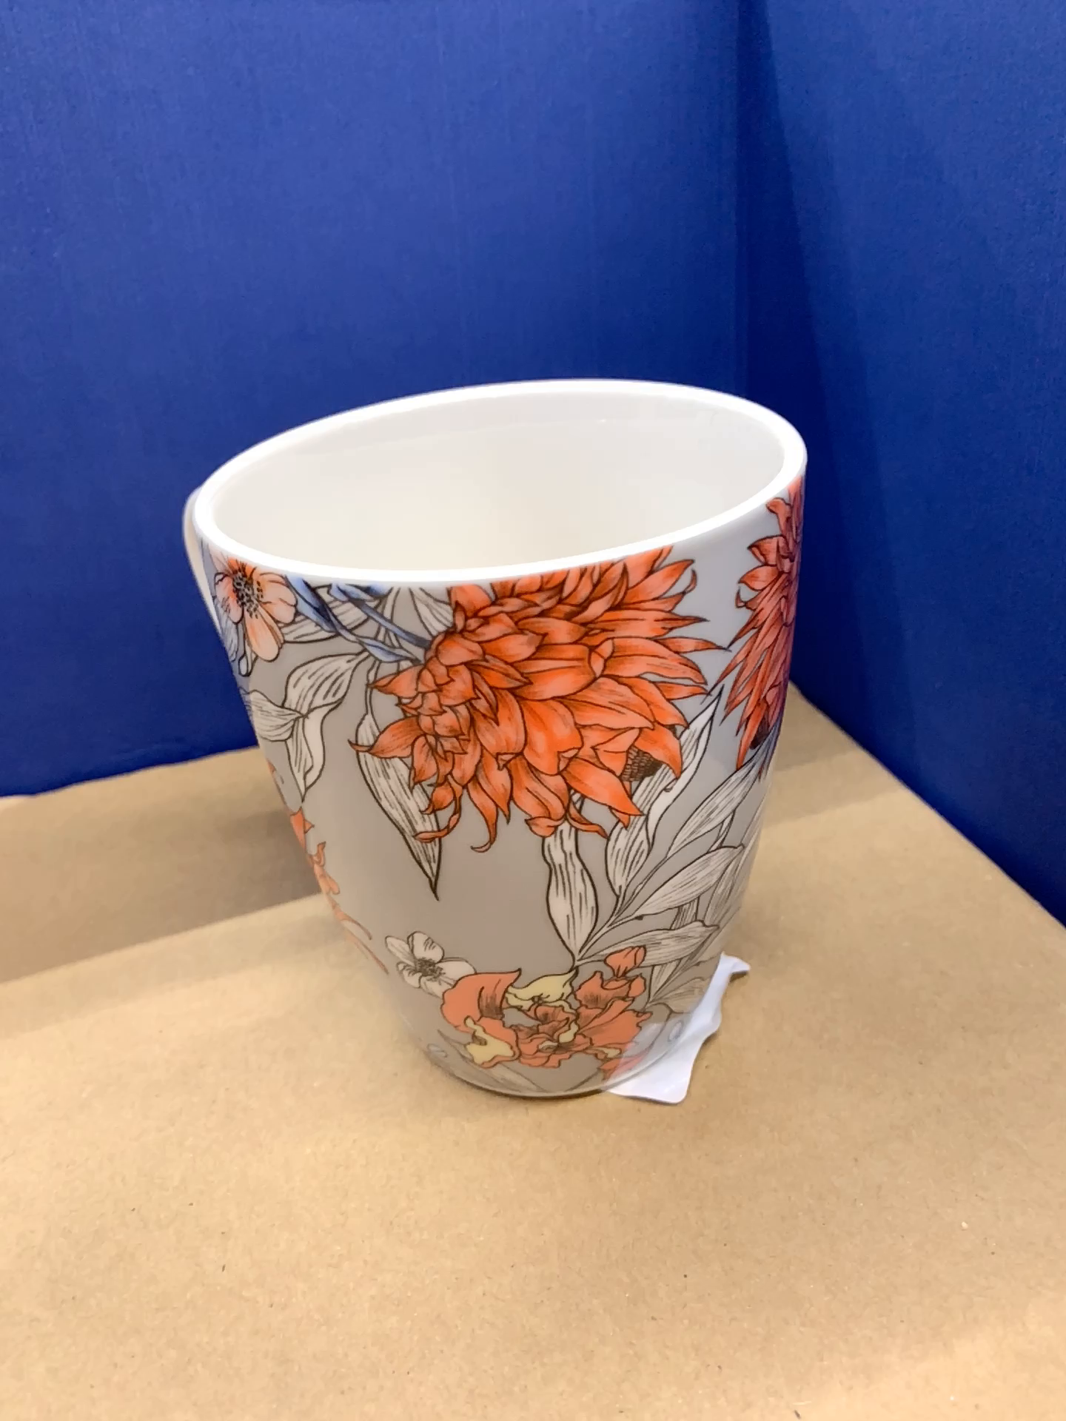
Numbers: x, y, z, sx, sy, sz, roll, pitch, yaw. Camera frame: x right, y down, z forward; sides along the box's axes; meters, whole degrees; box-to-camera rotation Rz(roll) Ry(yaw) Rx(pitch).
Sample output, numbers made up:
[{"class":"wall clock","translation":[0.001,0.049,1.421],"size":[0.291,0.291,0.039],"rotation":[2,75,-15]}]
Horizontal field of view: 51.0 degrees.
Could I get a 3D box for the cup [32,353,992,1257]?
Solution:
[{"class":"cup","translation":[-0.007,-0.003,0.188],"size":[0.092,0.085,0.118],"rotation":[-25,34,-34]}]
